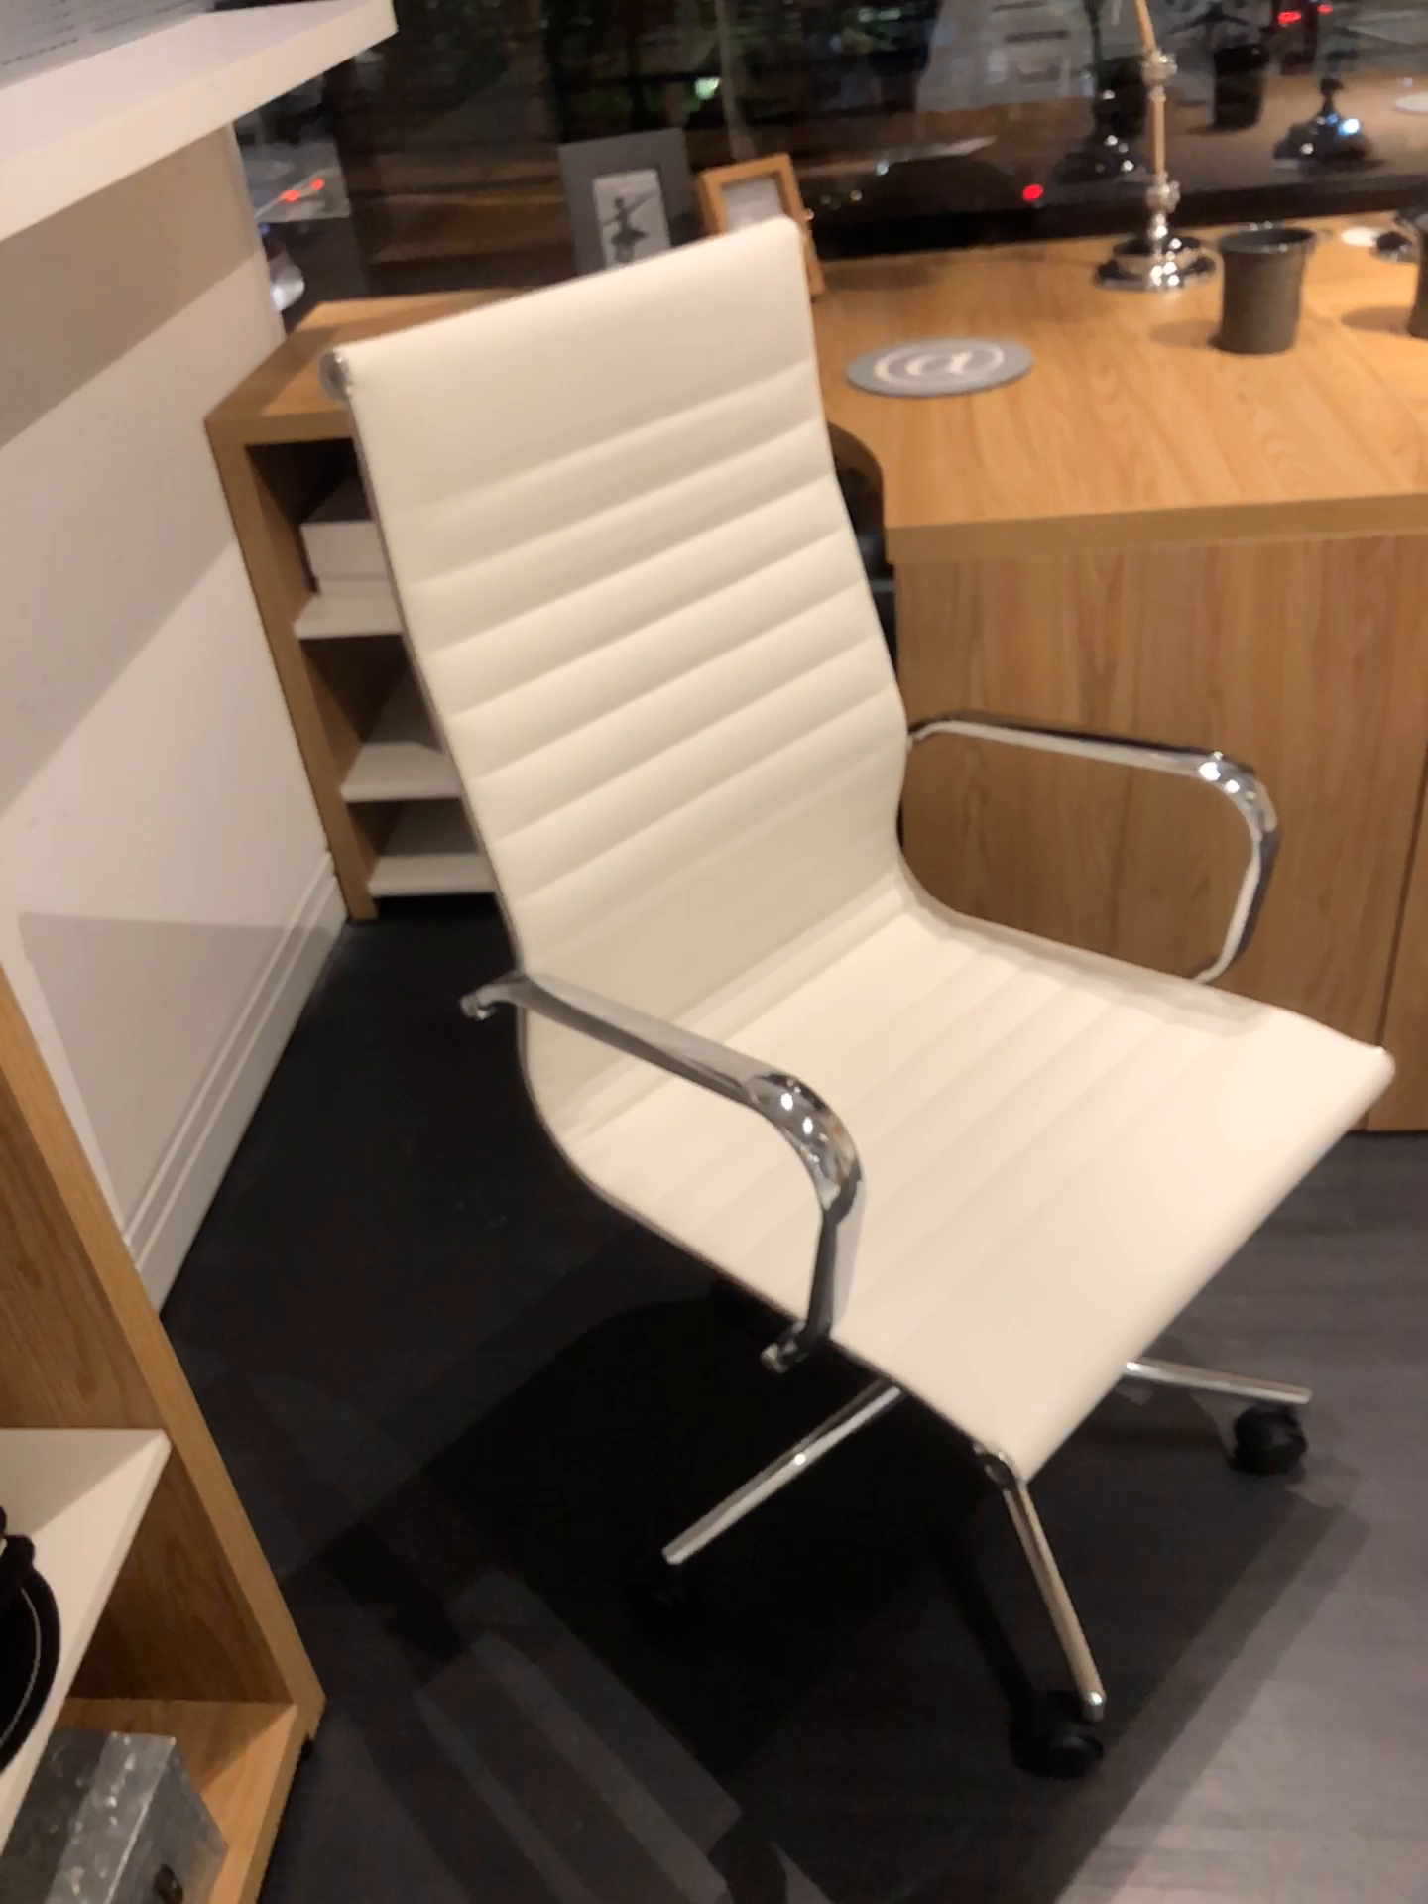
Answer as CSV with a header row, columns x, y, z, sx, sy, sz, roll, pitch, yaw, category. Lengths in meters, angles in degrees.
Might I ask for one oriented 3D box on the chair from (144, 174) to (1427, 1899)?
x,y,z,sx,sy,sz,roll,pitch,yaw,category
0.143,0.025,1.244,0.632,1.012,0.633,26,47,38,chair
